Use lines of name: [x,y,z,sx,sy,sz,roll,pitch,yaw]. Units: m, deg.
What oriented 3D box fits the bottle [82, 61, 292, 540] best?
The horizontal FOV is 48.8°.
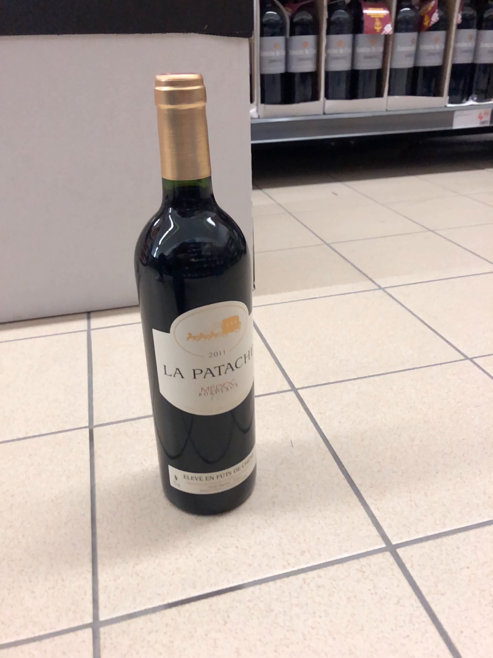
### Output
bottle: [-0.031,-0.011,0.353,0.090,0.288,0.080,-13,29,-21]
